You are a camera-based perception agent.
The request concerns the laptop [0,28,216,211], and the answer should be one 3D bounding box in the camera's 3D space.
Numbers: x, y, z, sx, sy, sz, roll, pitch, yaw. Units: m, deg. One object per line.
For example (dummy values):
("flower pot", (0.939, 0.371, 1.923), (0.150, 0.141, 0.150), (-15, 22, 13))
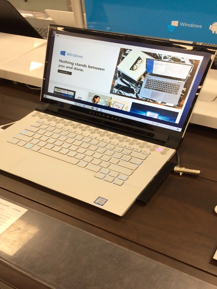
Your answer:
("laptop", (-0.062, -0.081, 0.590), (0.381, 0.212, 0.317), (20, 47, 26))
